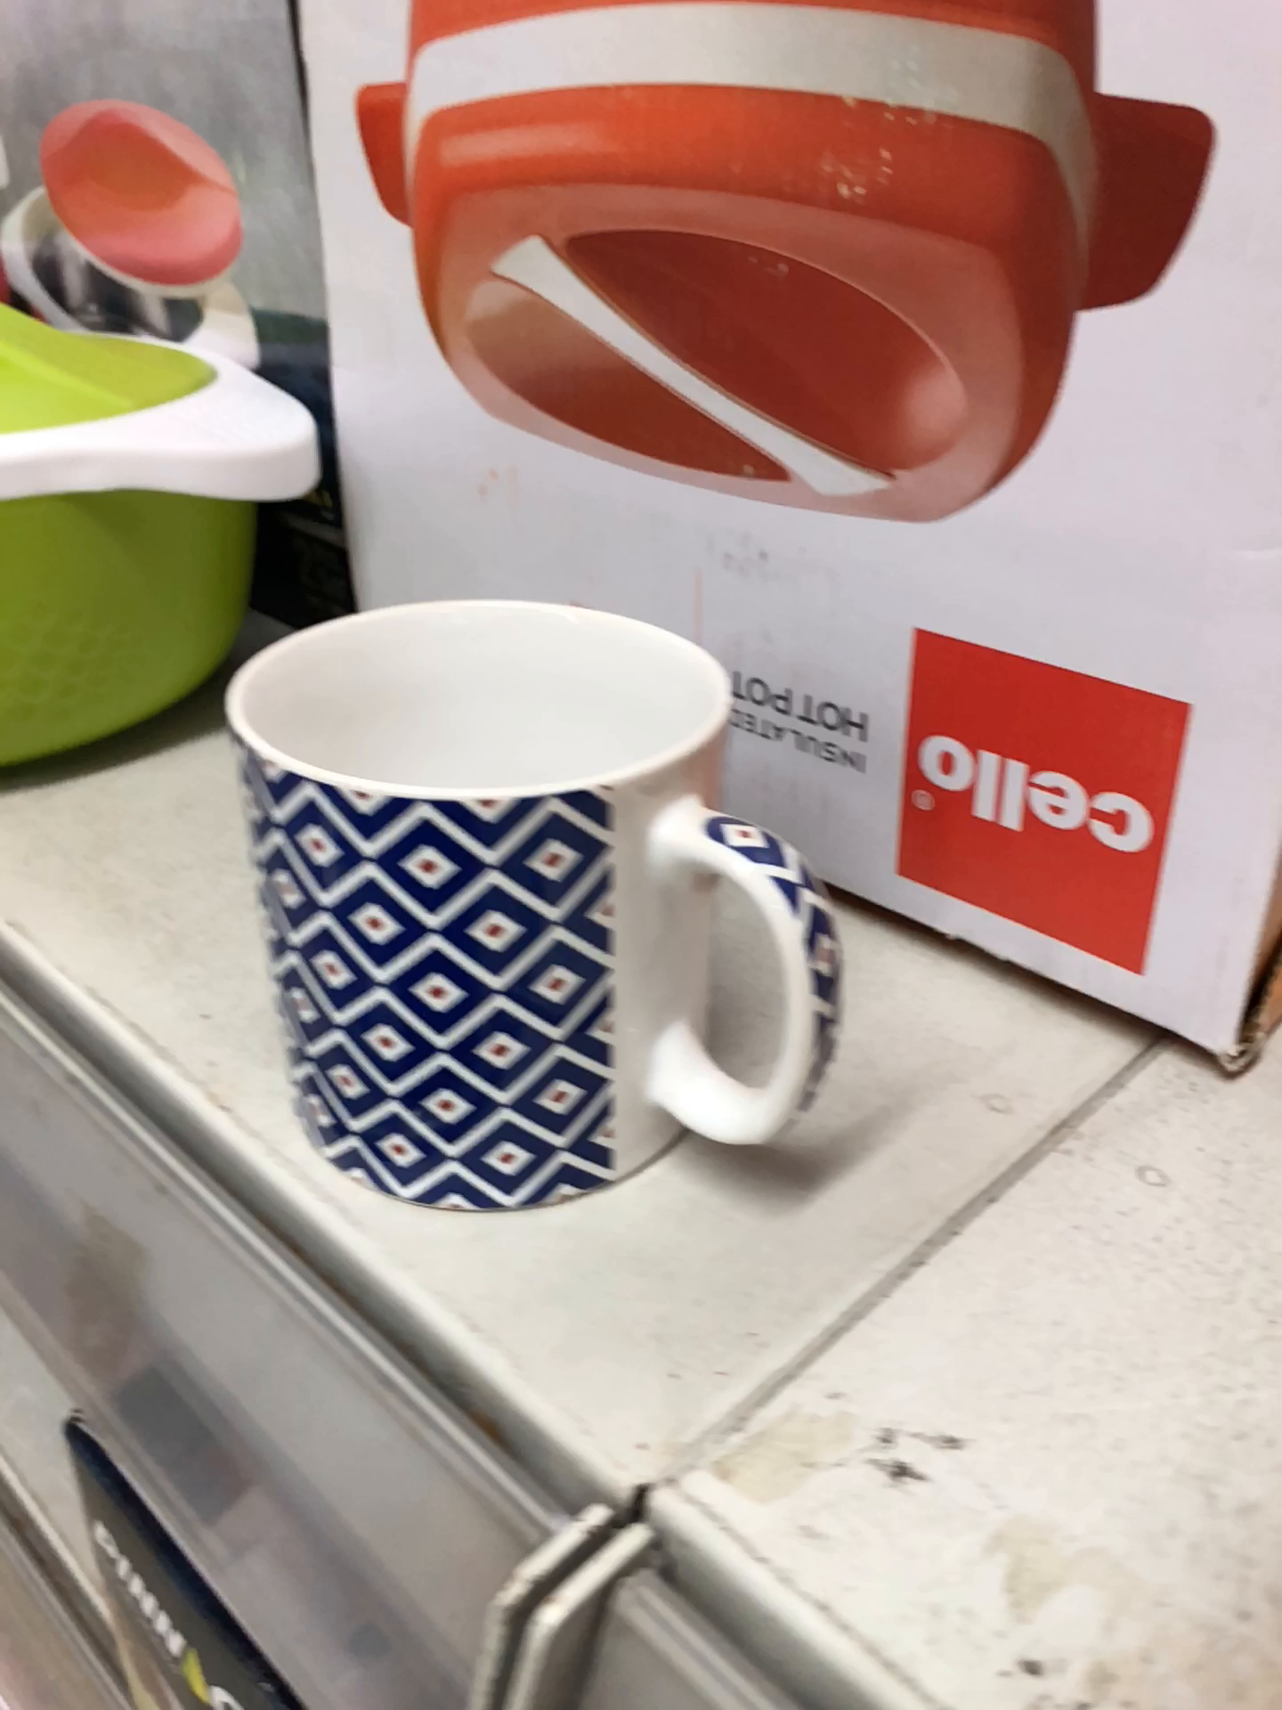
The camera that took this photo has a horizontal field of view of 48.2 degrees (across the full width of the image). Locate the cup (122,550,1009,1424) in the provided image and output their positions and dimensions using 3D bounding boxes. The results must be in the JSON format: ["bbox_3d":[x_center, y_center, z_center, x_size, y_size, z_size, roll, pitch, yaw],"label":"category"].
[{"bbox_3d":[-0.014,0.009,0.234,0.080,0.079,0.110,-25,38,-38],"label":"cup"}]
